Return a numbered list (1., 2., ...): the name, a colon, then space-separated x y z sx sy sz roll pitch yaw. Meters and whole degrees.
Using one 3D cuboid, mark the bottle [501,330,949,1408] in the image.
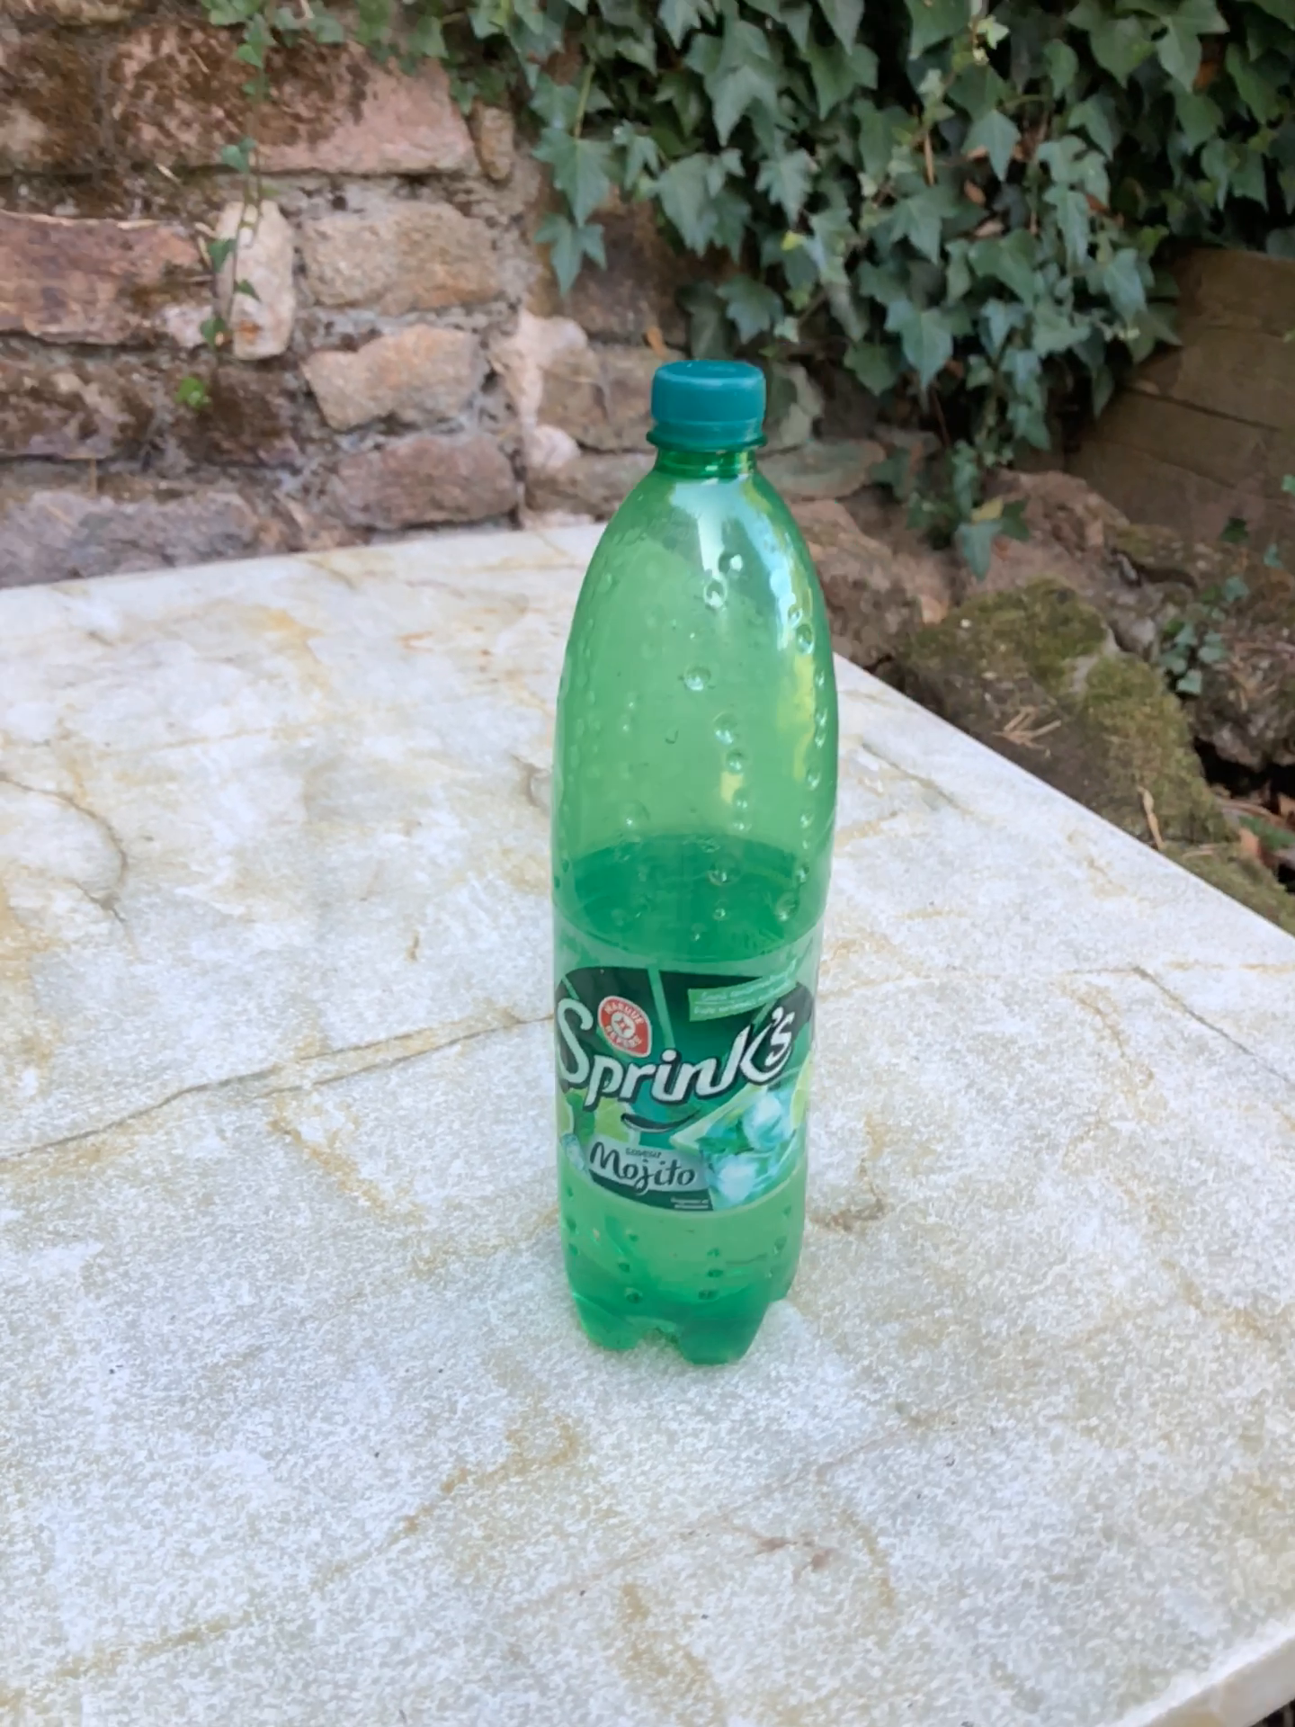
1. bottle: 0.018 0.012 0.432 0.090 0.308 0.091 2 30 -1
